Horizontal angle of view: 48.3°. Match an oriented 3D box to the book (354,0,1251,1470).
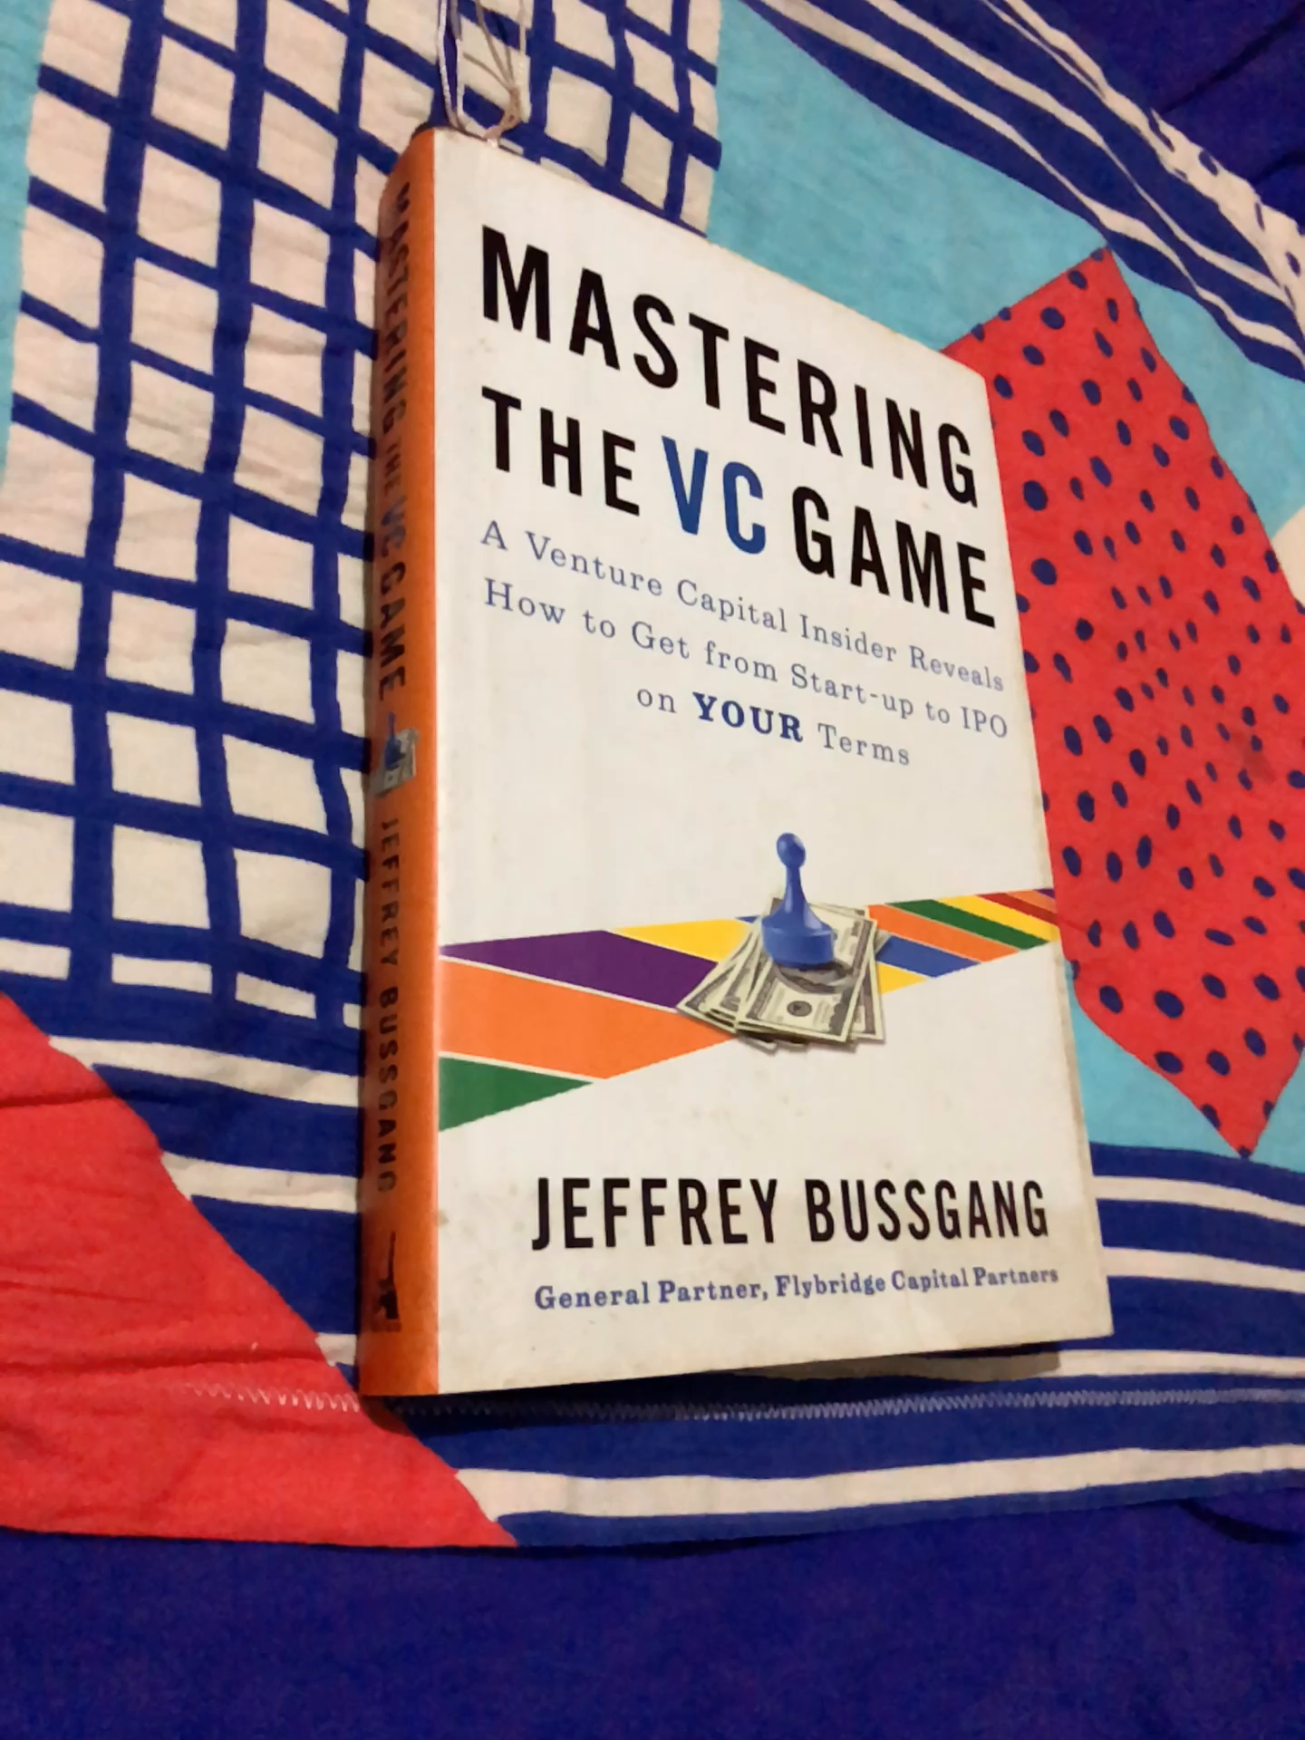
[{"bbox_3d":[0.030,-0.031,0.318,0.181,0.050,0.280,8,69,-35],"label":"book"}]
